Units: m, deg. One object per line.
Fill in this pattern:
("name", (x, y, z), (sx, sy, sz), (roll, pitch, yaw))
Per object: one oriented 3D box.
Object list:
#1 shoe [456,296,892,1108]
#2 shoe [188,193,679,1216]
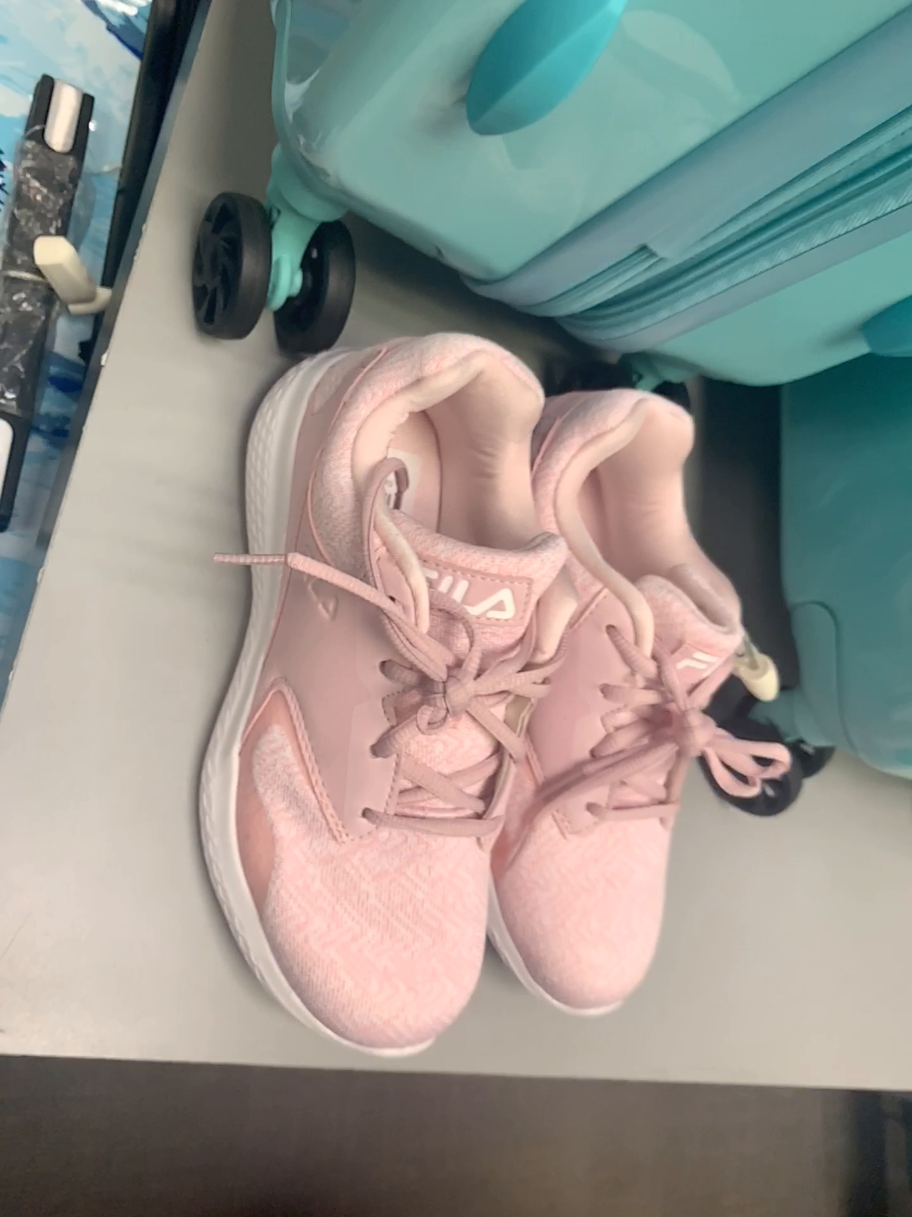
("shoe", (0.076, 0.032, 0.365), (0.108, 0.104, 0.250), (6, 78, -34))
("shoe", (-0.012, 0.024, 0.305), (0.108, 0.104, 0.250), (6, 78, -34))
